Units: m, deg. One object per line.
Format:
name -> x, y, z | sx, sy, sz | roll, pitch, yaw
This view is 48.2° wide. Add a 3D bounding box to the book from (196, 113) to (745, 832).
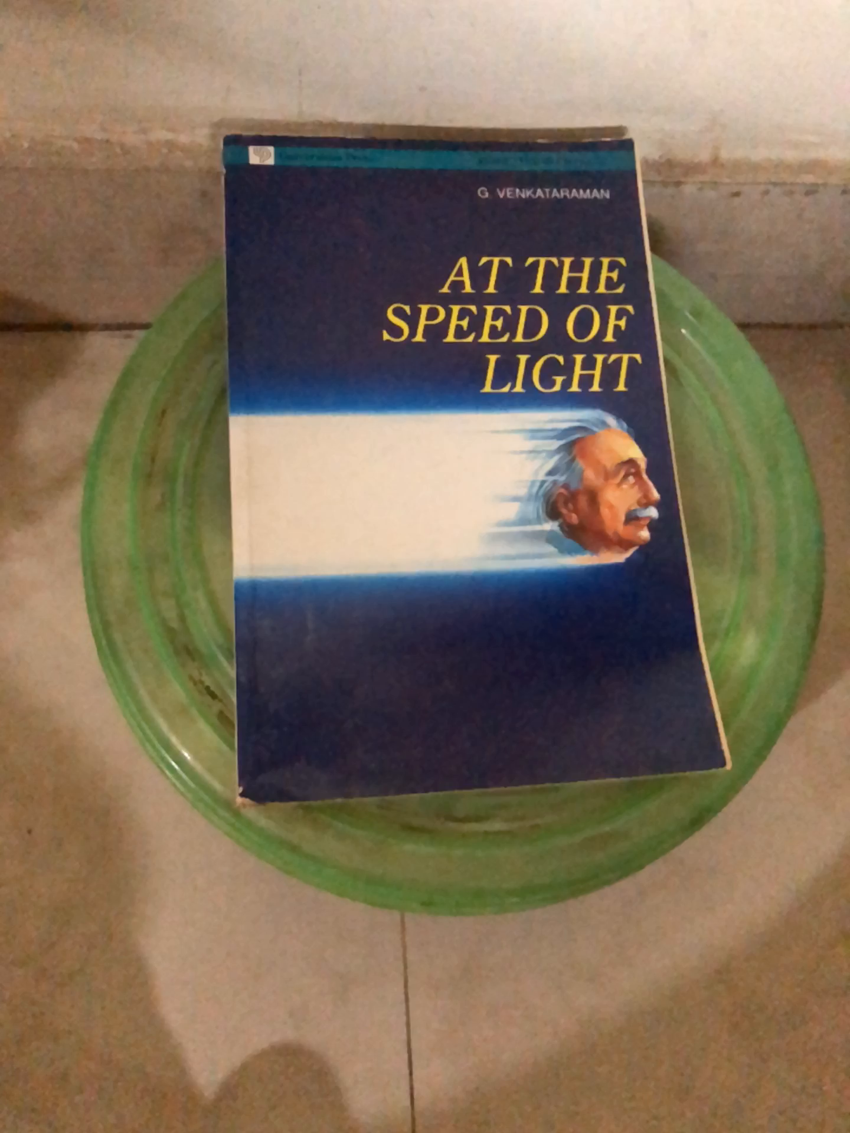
book -> 0.006, -0.041, 0.302 | 0.150, 0.020, 0.230 | -3, 74, -8
